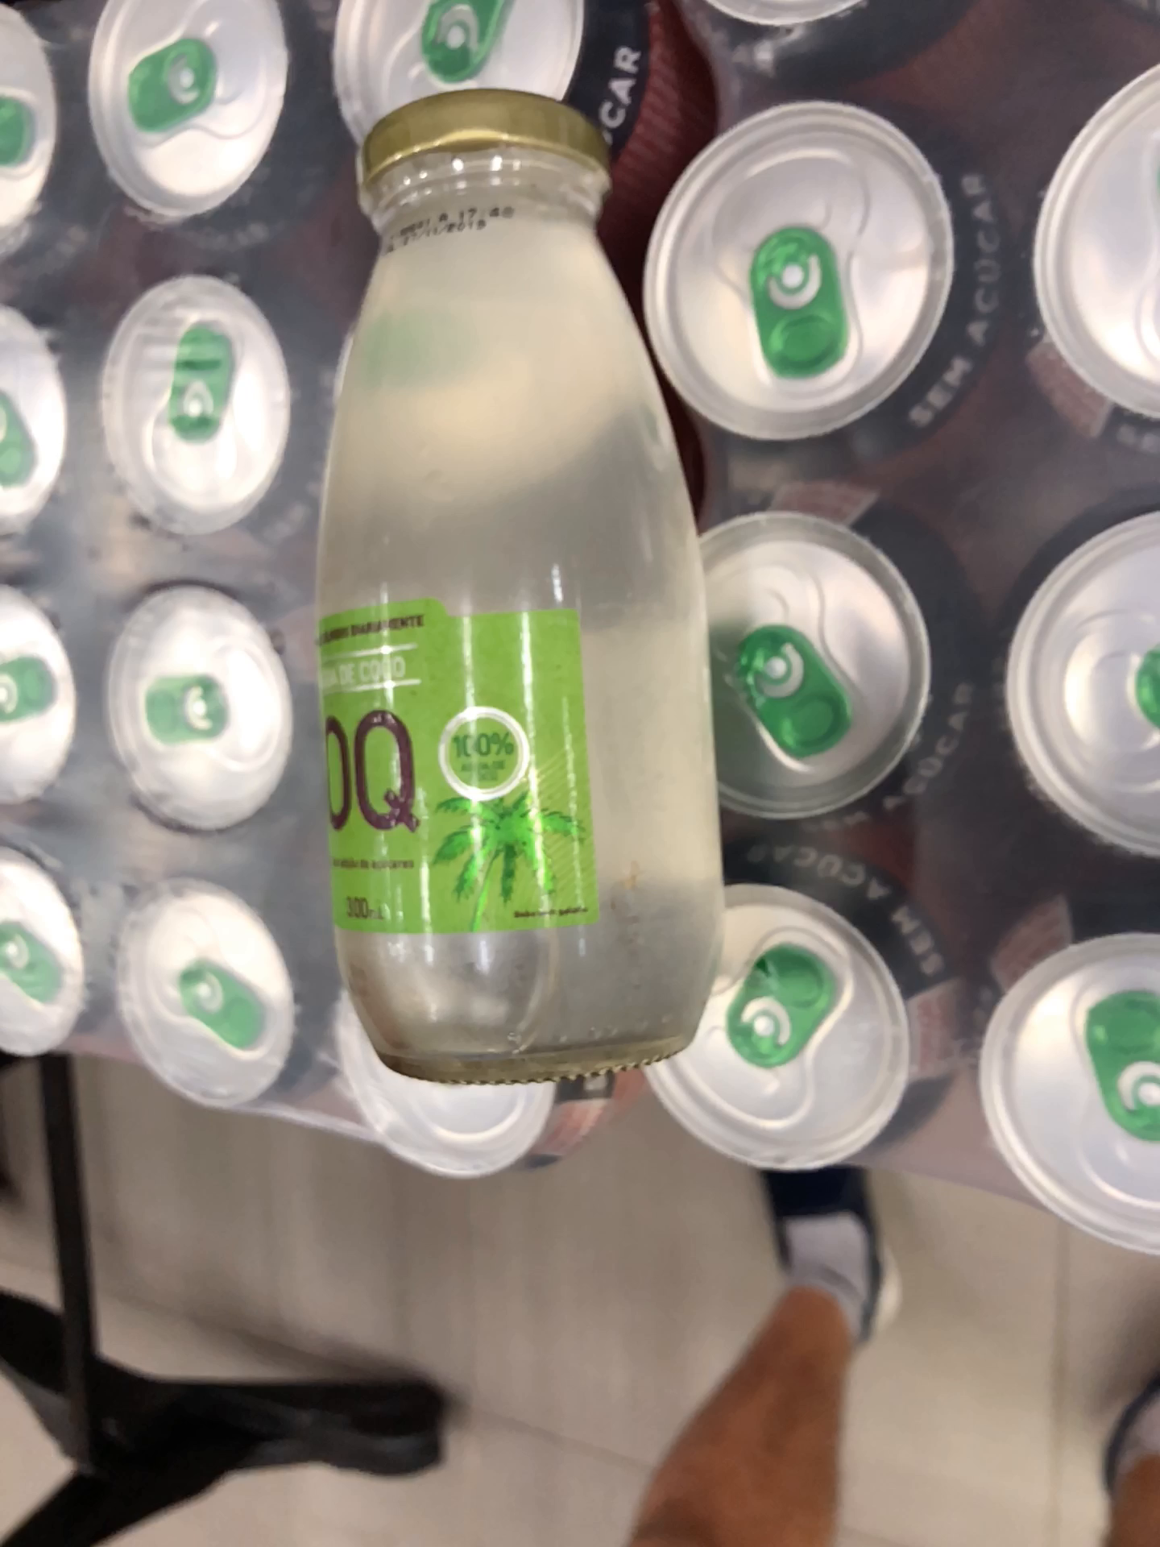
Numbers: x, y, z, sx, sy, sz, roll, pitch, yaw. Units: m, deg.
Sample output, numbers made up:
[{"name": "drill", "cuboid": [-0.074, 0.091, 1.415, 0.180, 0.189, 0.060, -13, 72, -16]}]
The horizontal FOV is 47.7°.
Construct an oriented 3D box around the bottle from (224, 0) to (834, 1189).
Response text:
[{"name": "bottle", "cuboid": [-0.008, -0.025, 0.208, 0.070, 0.060, 0.150, 1, 95, 47]}]
